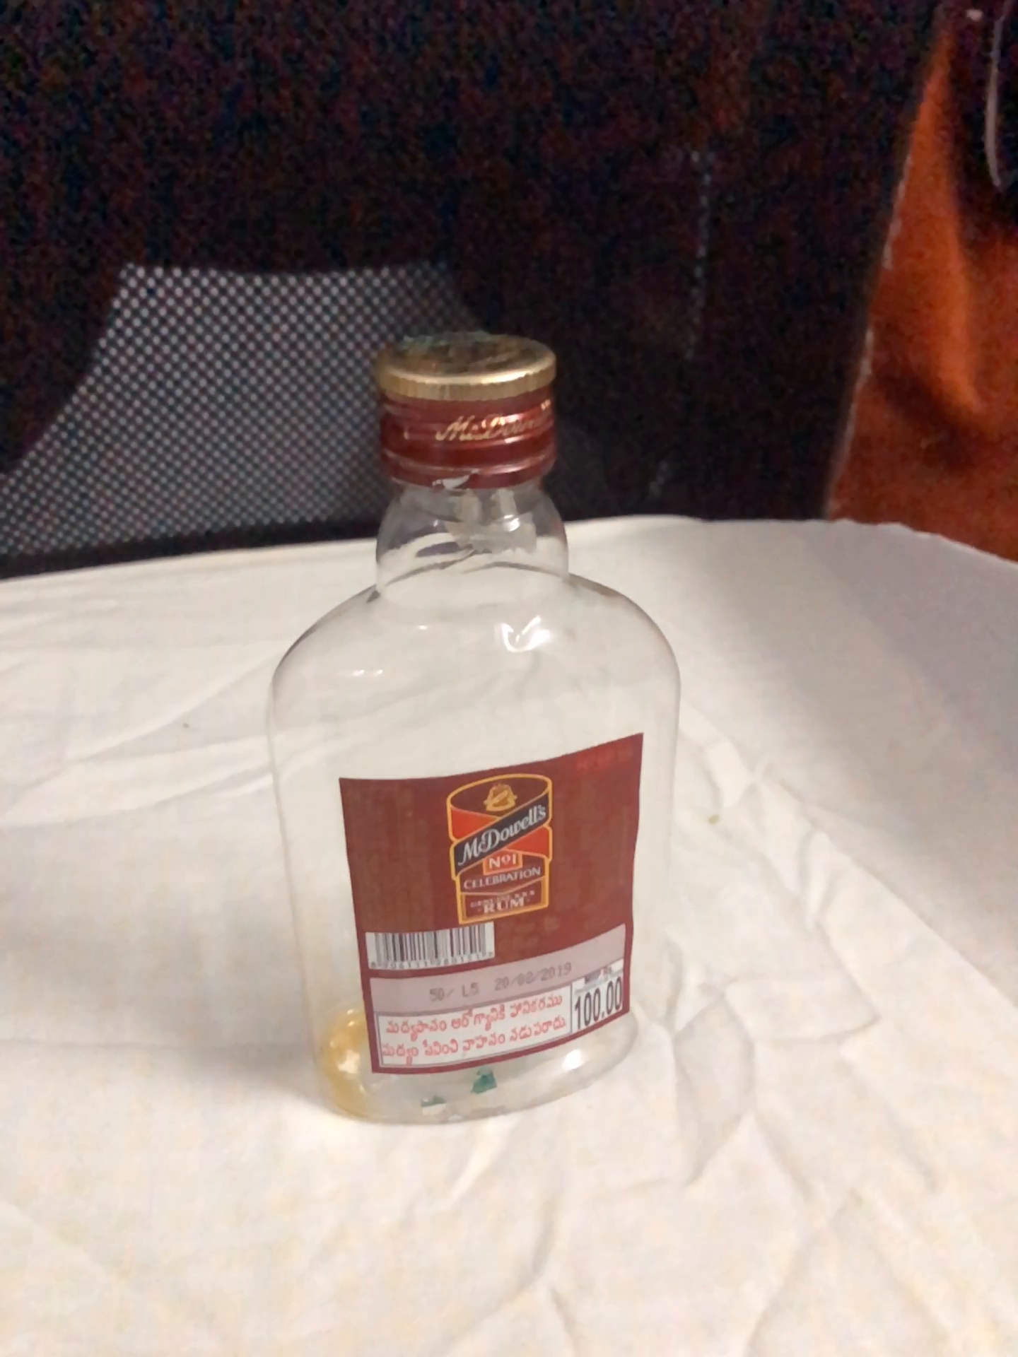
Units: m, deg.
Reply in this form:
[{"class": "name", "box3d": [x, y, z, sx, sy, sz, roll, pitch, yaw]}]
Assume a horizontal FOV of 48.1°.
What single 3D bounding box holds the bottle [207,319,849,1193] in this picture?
[{"class": "bottle", "box3d": [-0.002, 0.017, 0.192, 0.080, 0.139, 0.040, -7, 32, -14]}]
